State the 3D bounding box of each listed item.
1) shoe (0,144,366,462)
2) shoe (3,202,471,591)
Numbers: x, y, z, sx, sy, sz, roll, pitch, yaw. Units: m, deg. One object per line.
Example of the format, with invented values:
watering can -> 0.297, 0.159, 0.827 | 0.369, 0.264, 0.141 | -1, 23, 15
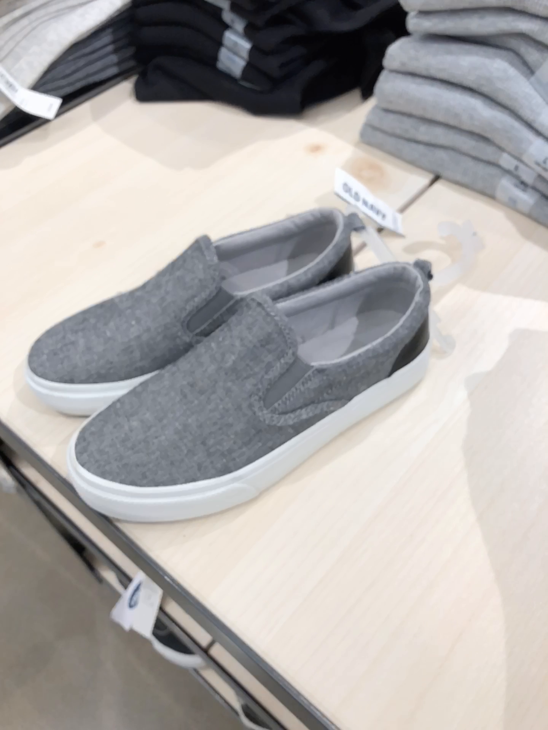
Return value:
shoe -> -0.059, -0.041, 0.381 | 0.210, 0.100, 0.090 | -21, 49, -10
shoe -> -0.013, 0.012, 0.335 | 0.210, 0.100, 0.090 | -25, 50, -14
